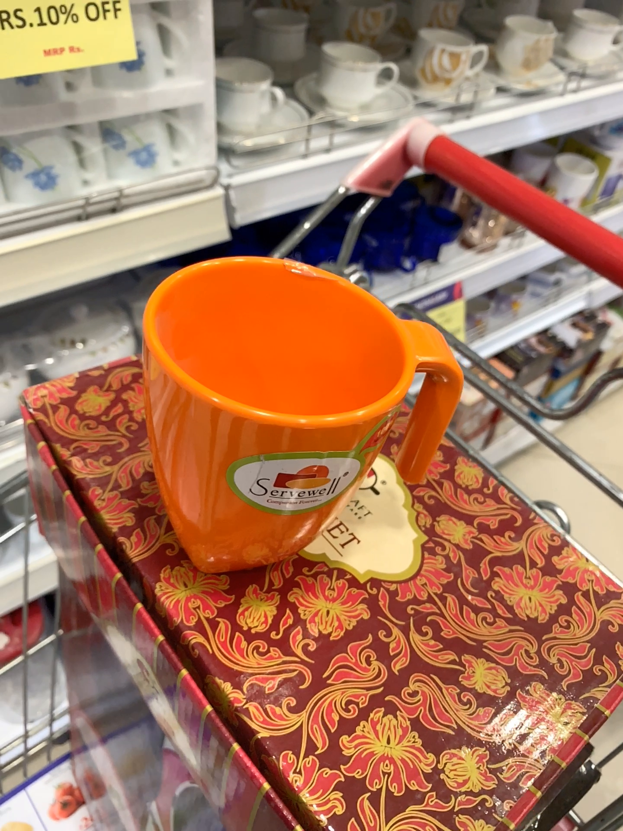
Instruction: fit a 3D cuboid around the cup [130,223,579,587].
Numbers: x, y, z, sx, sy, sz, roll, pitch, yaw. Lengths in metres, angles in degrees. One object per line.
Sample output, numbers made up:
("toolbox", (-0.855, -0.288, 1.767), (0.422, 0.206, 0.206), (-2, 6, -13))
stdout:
("cup", (0.003, -0.006, 0.208), (0.110, 0.070, 0.080), (-2, 47, -19))
